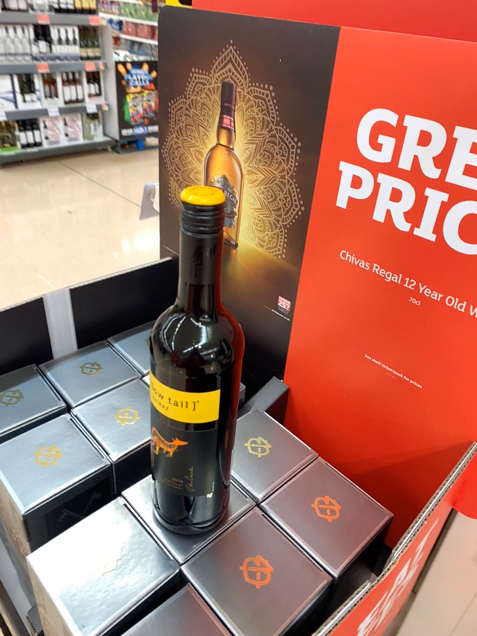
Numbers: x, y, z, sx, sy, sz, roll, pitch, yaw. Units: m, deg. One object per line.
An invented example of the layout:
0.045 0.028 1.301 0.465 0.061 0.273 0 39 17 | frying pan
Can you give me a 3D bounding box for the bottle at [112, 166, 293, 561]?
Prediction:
-0.034 0.050 0.382 0.081 0.304 0.078 4 33 -2 | bottle
